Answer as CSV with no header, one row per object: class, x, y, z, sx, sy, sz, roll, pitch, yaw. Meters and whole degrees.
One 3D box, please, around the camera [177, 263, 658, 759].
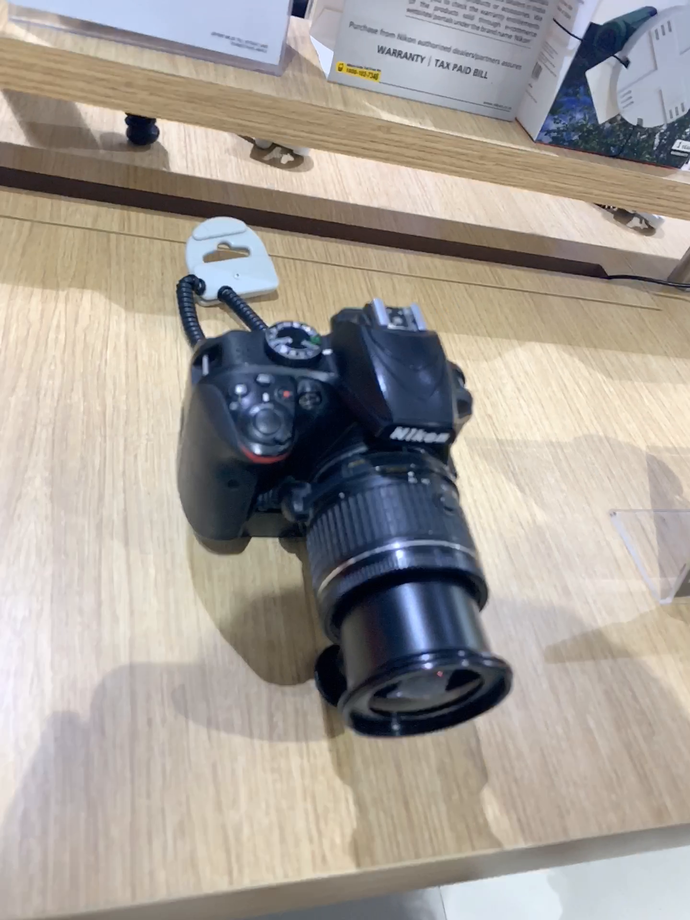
camera,0.007,0.015,0.258,0.120,0.094,0.140,2,48,-19
